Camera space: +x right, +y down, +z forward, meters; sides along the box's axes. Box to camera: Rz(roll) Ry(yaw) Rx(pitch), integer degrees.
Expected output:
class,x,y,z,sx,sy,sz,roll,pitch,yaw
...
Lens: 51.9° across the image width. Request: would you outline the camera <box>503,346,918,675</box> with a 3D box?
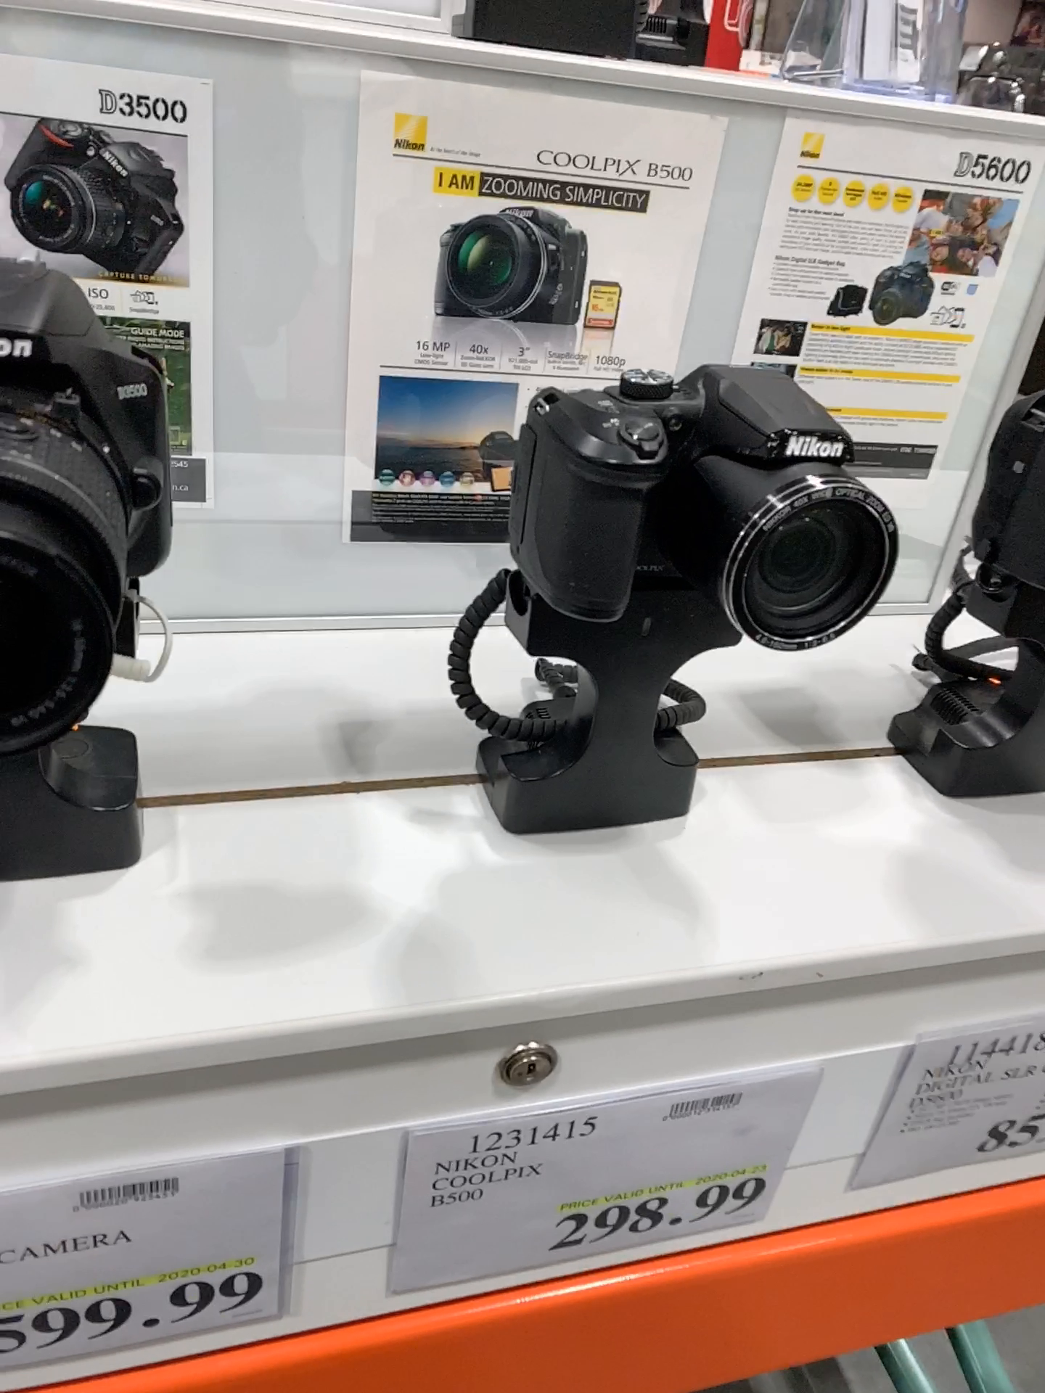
class,x,y,z,sx,sy,sz,roll,pitch,yaw
camera,0.060,-0.068,0.380,0.110,0.089,0.070,-4,33,-19
